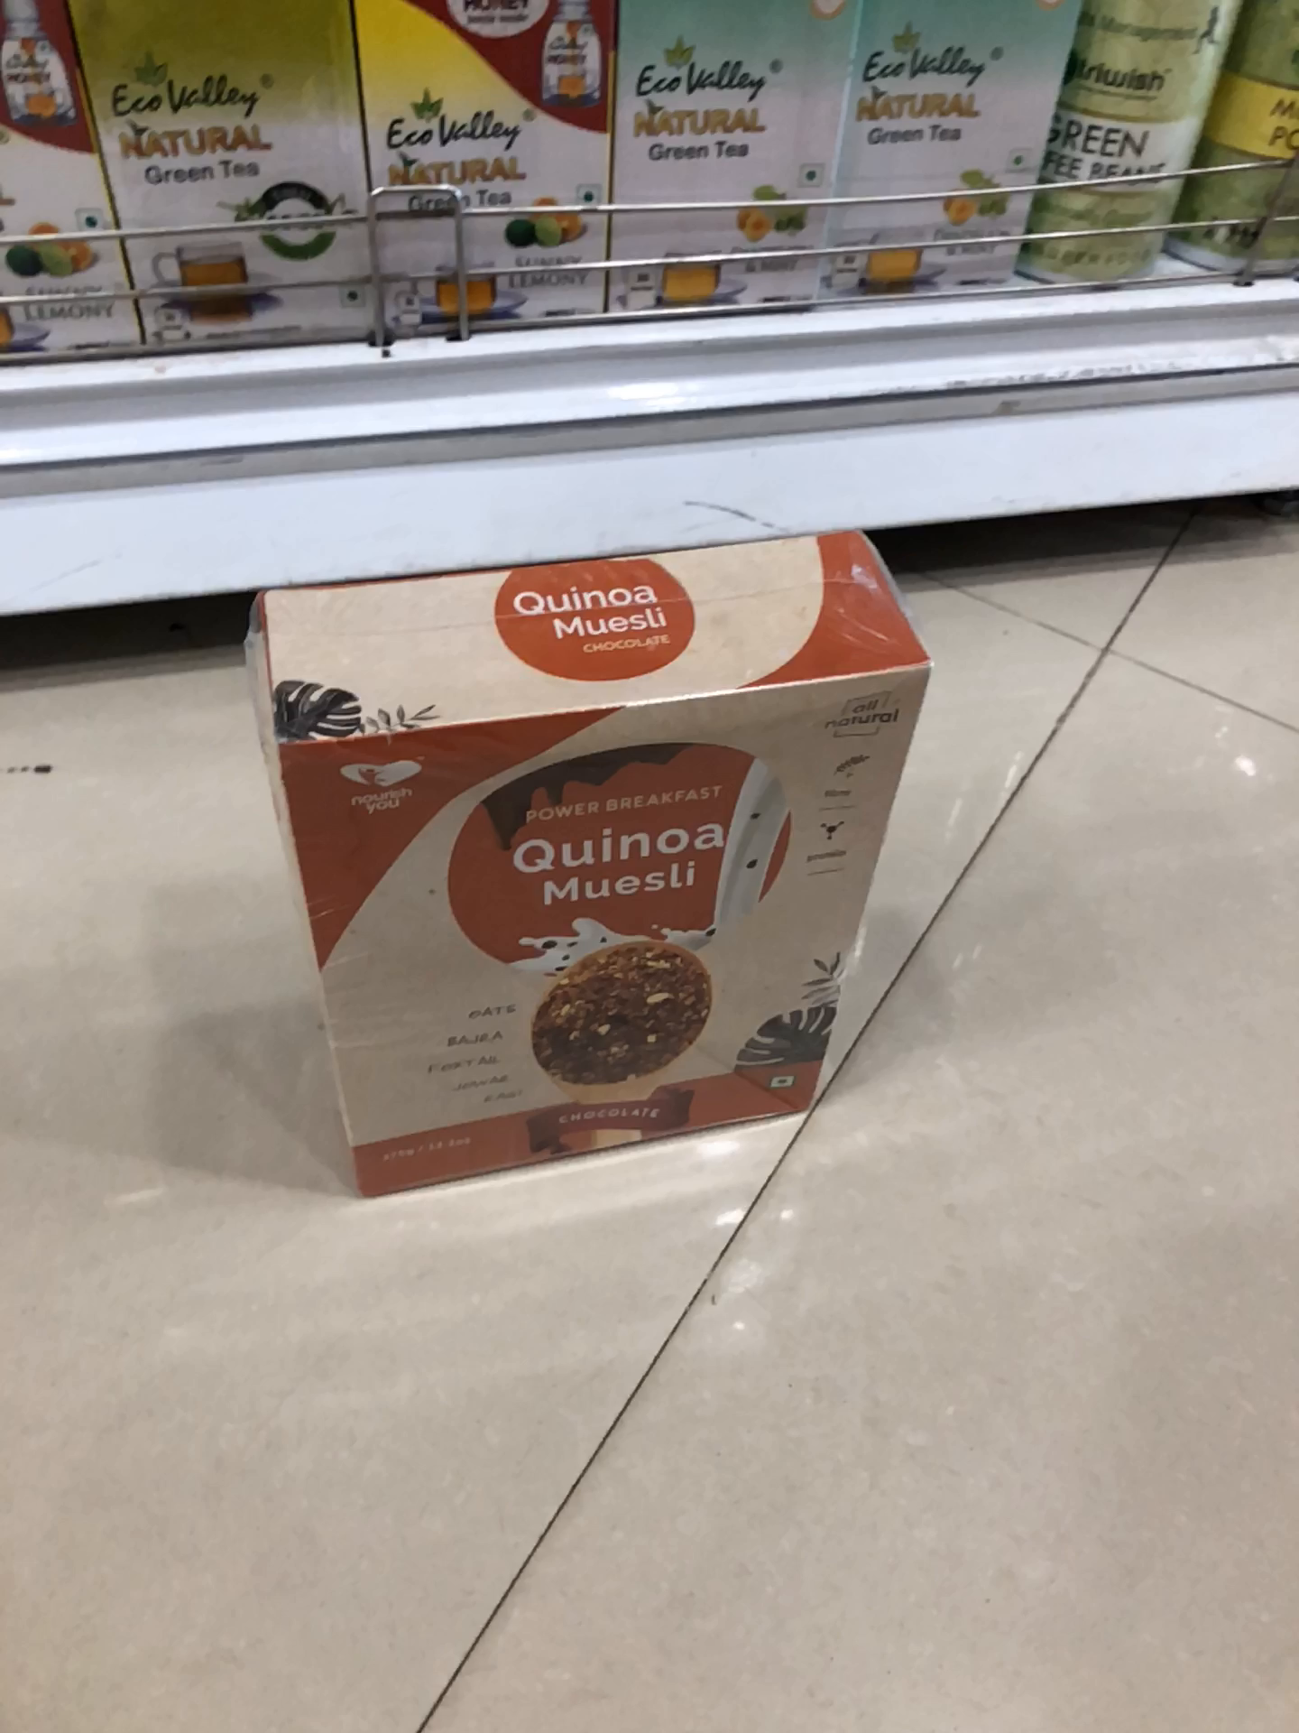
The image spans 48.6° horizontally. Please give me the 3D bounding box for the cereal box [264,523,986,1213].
[{"bbox_3d":[-0.014,0.013,0.416,0.160,0.219,0.050,-8,52,-13],"label":"cereal box"}]
